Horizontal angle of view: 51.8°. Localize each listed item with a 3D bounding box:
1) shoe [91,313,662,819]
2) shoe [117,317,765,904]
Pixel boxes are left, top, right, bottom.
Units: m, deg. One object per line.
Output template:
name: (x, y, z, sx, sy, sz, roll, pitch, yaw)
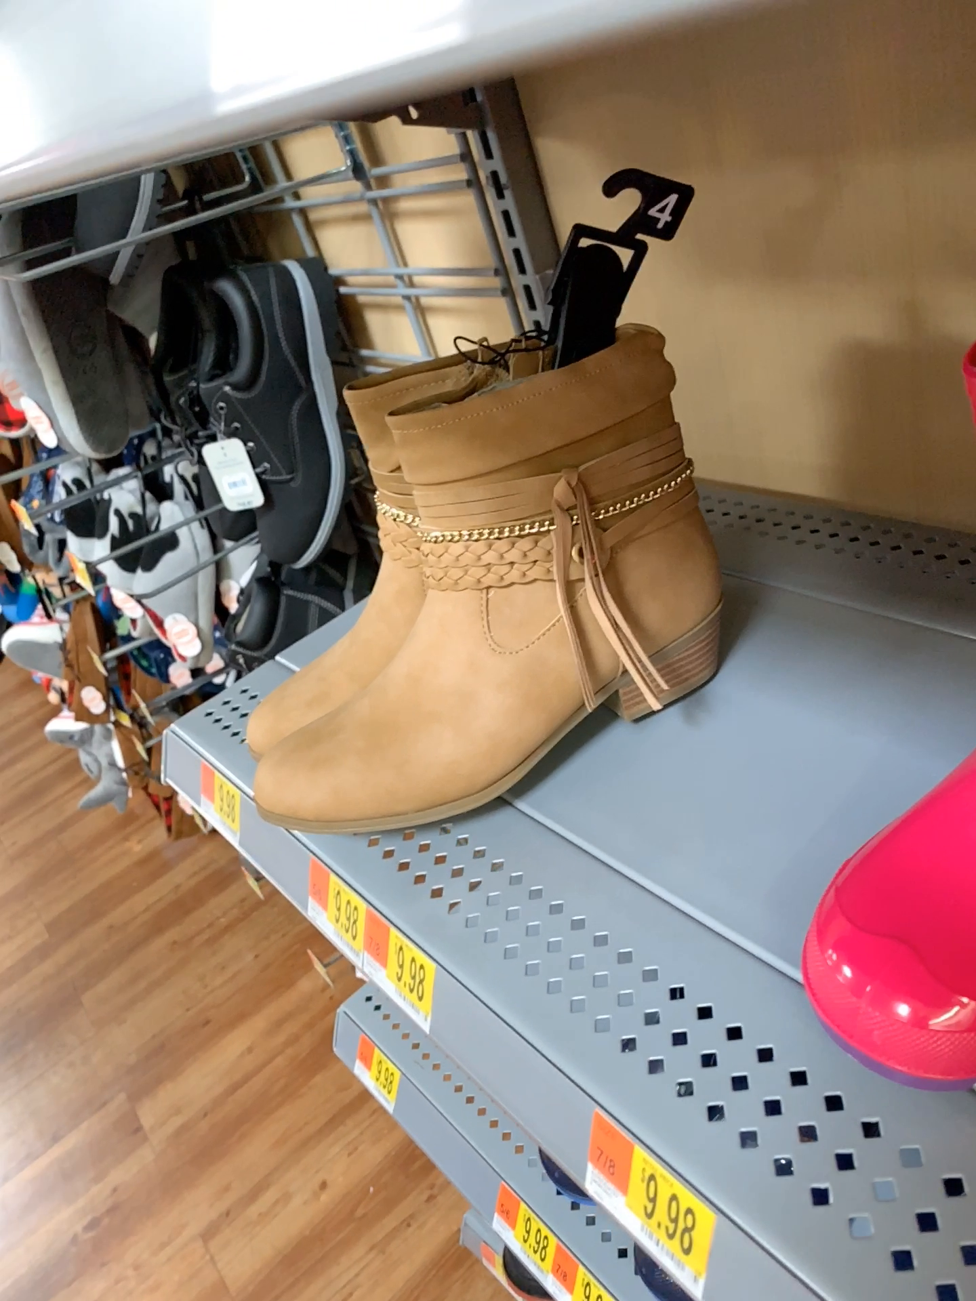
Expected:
shoe: (-0.047, -0.041, 0.496, 0.217, 0.161, 0.089, -21, 31, 0)
shoe: (-0.013, -0.022, 0.447, 0.237, 0.154, 0.083, -26, 32, -9)
